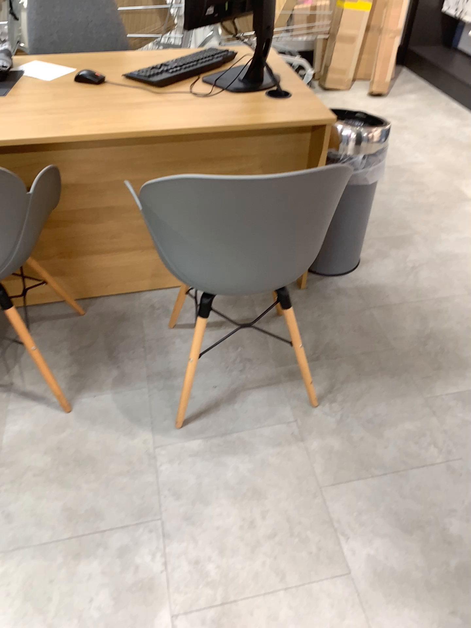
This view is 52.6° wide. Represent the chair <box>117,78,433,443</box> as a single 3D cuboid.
[{"bbox_3d":[0.032,-0.139,1.355,0.597,0.808,0.551,-7,44,-8],"label":"chair"}]

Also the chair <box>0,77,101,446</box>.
[{"bbox_3d":[-0.756,-0.133,1.341,0.587,0.808,0.551,-7,44,-8],"label":"chair"}]
